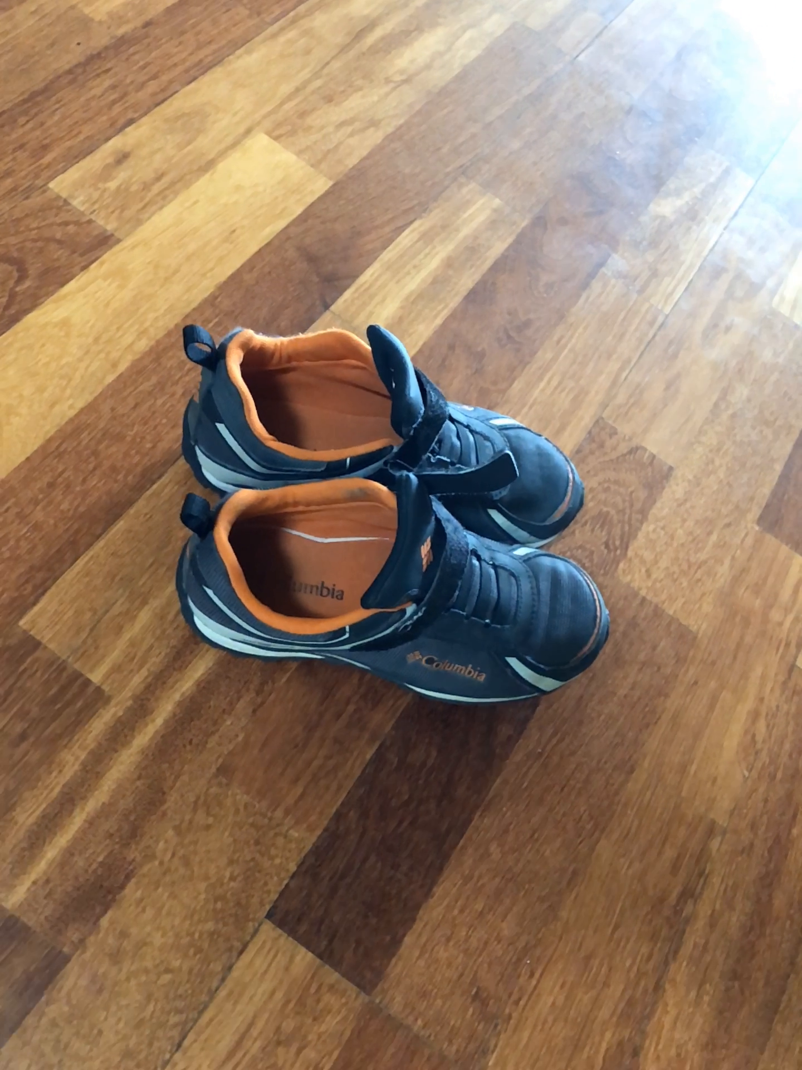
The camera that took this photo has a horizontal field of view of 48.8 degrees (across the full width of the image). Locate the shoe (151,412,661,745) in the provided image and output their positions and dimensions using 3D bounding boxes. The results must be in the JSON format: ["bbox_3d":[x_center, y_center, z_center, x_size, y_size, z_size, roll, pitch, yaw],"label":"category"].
[{"bbox_3d":[0.002,0.031,0.477,0.247,0.102,0.097,13,63,-9],"label":"shoe"}]

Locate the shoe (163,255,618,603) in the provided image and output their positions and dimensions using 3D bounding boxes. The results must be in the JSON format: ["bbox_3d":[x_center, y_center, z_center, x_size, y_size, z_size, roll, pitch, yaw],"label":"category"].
[{"bbox_3d":[-0.009,-0.057,0.558,0.252,0.127,0.112,13,63,-9],"label":"shoe"}]
